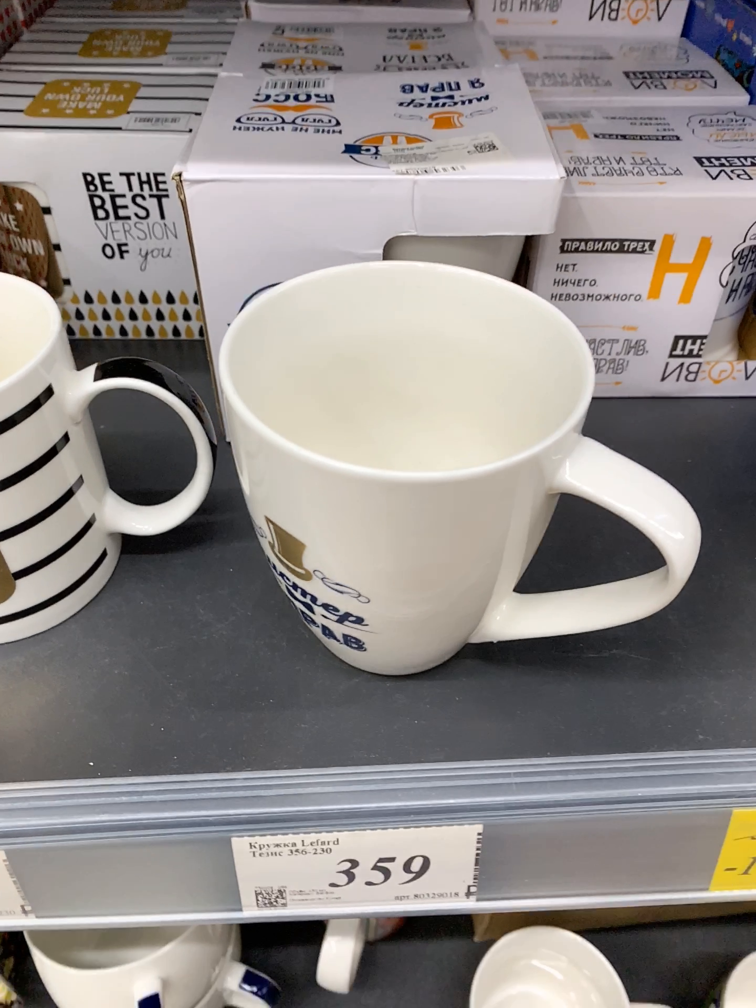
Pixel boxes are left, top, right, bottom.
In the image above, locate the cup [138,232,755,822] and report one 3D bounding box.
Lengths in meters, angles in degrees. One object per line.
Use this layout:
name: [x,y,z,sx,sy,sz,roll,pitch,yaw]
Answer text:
cup: [0.022,-0.001,0.228,0.132,0.093,0.094,23,48,21]
